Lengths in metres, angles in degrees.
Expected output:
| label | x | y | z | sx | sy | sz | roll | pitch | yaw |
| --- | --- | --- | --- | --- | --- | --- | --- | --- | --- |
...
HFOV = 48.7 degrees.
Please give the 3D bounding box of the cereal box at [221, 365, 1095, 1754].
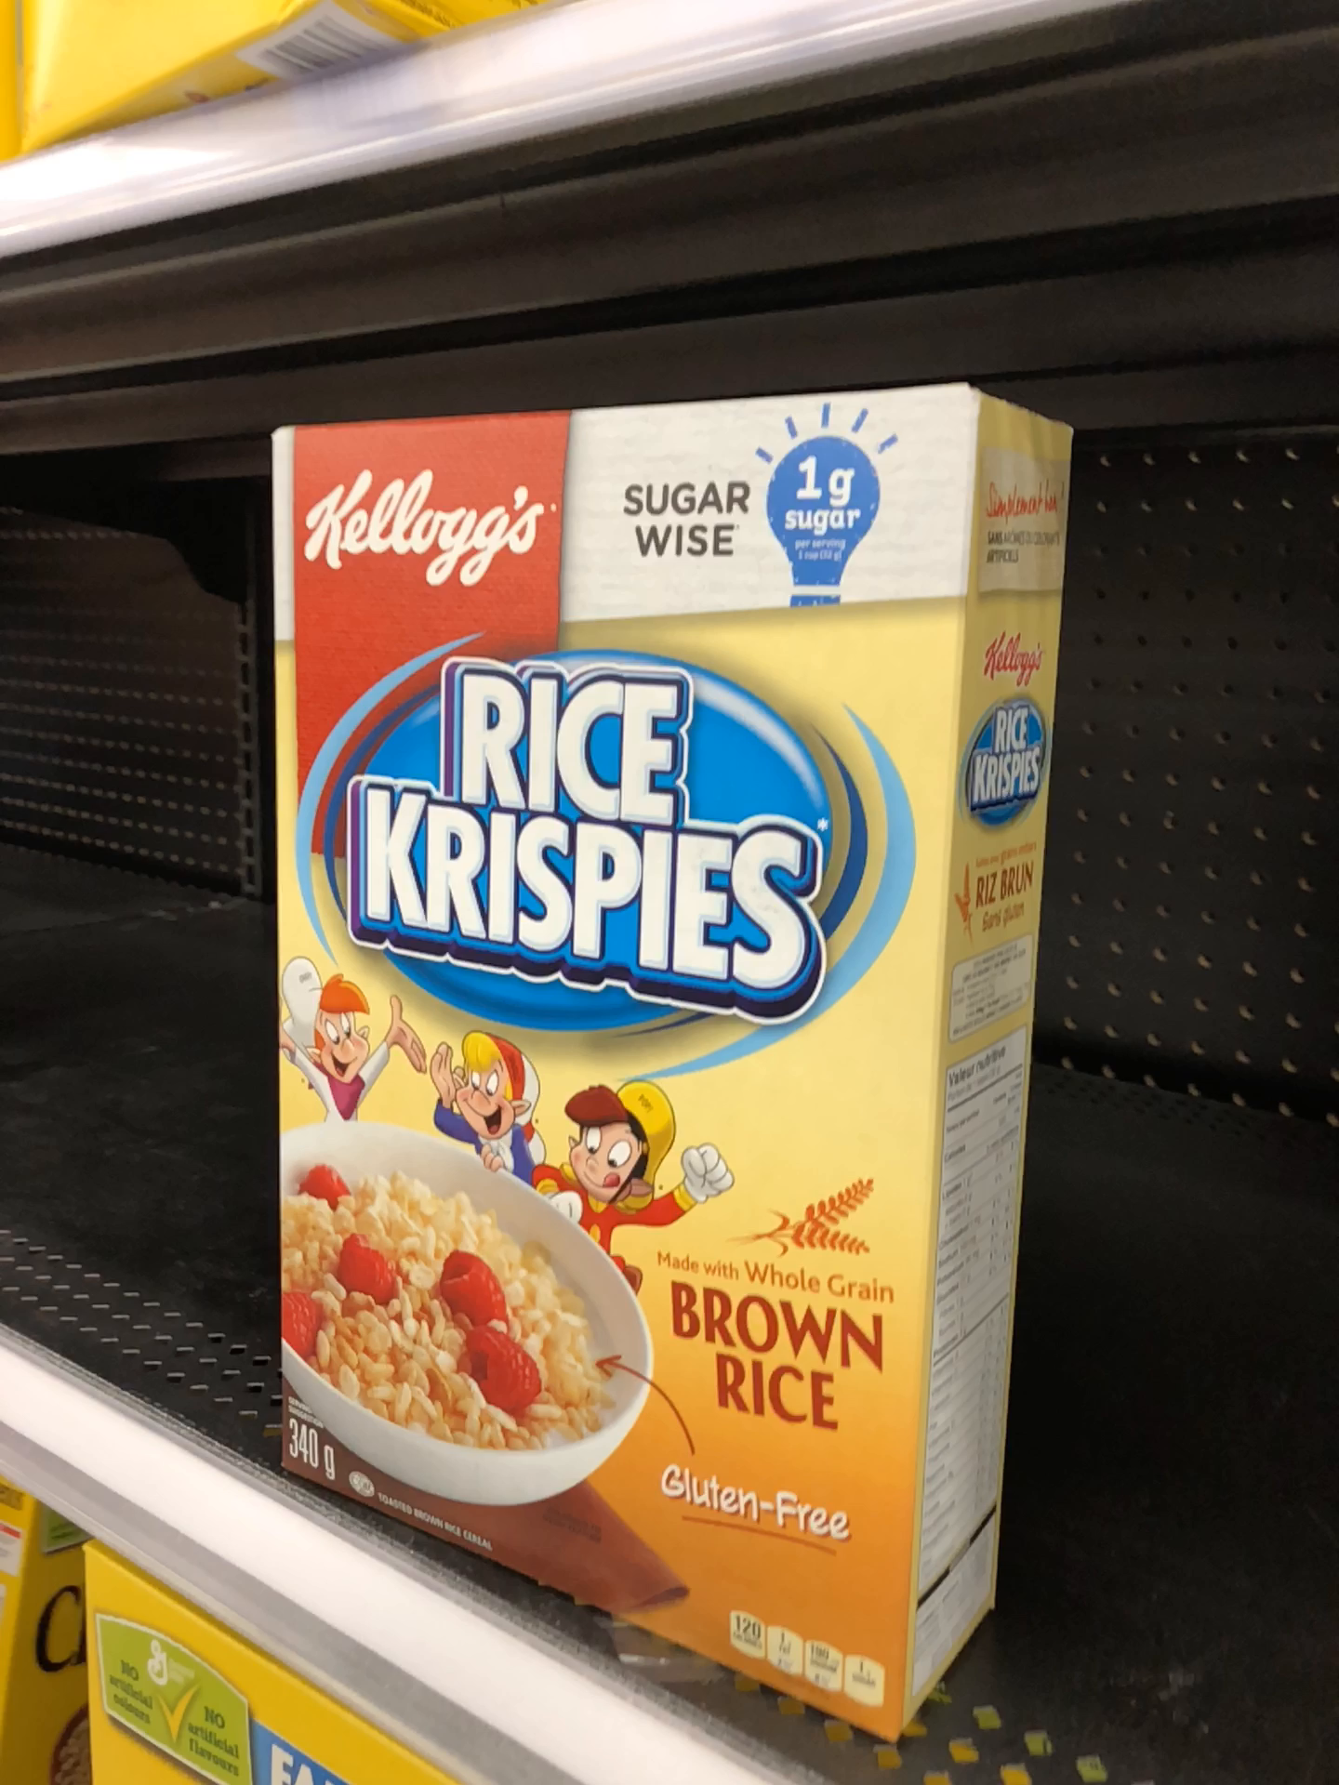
| label | x | y | z | sx | sy | sz | roll | pitch | yaw |
| --- | --- | --- | --- | --- | --- | --- | --- | --- | --- |
| cereal box | -0.015 | 0.028 | 0.378 | 0.210 | 0.289 | 0.060 | 7 | 11 | 32 |
